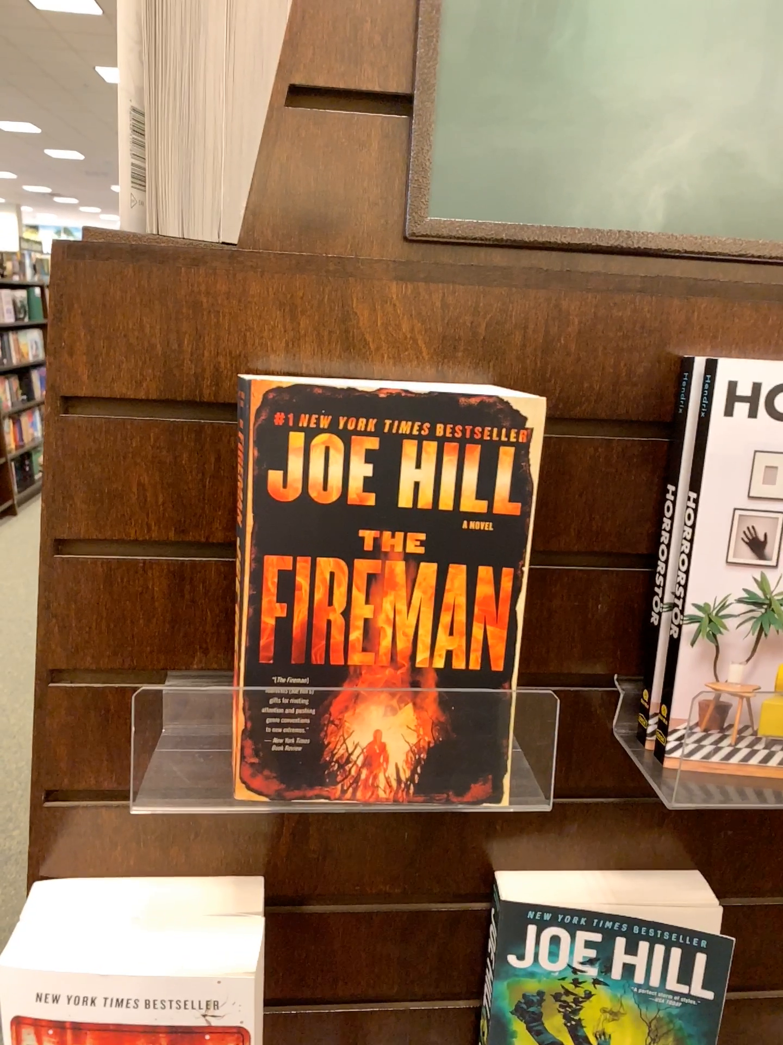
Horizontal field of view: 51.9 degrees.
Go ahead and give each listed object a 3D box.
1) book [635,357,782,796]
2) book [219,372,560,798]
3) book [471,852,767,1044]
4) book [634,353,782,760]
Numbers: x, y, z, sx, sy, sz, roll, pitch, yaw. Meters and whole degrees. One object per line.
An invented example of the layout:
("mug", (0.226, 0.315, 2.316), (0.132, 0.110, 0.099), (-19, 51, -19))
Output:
("book", (0.233, 0.027, 0.408), (0.188, 0.208, 0.026), (4, 10, 4))
("book", (-0.006, 0.028, 0.398), (0.146, 0.194, 0.069), (2, 11, -6))
("book", (0.141, 0.336, 0.533), (0.159, 0.202, 0.062), (4, 10, 4))
("book", (0.243, 0.019, 0.442), (0.188, 0.208, 0.026), (4, 10, 4))
